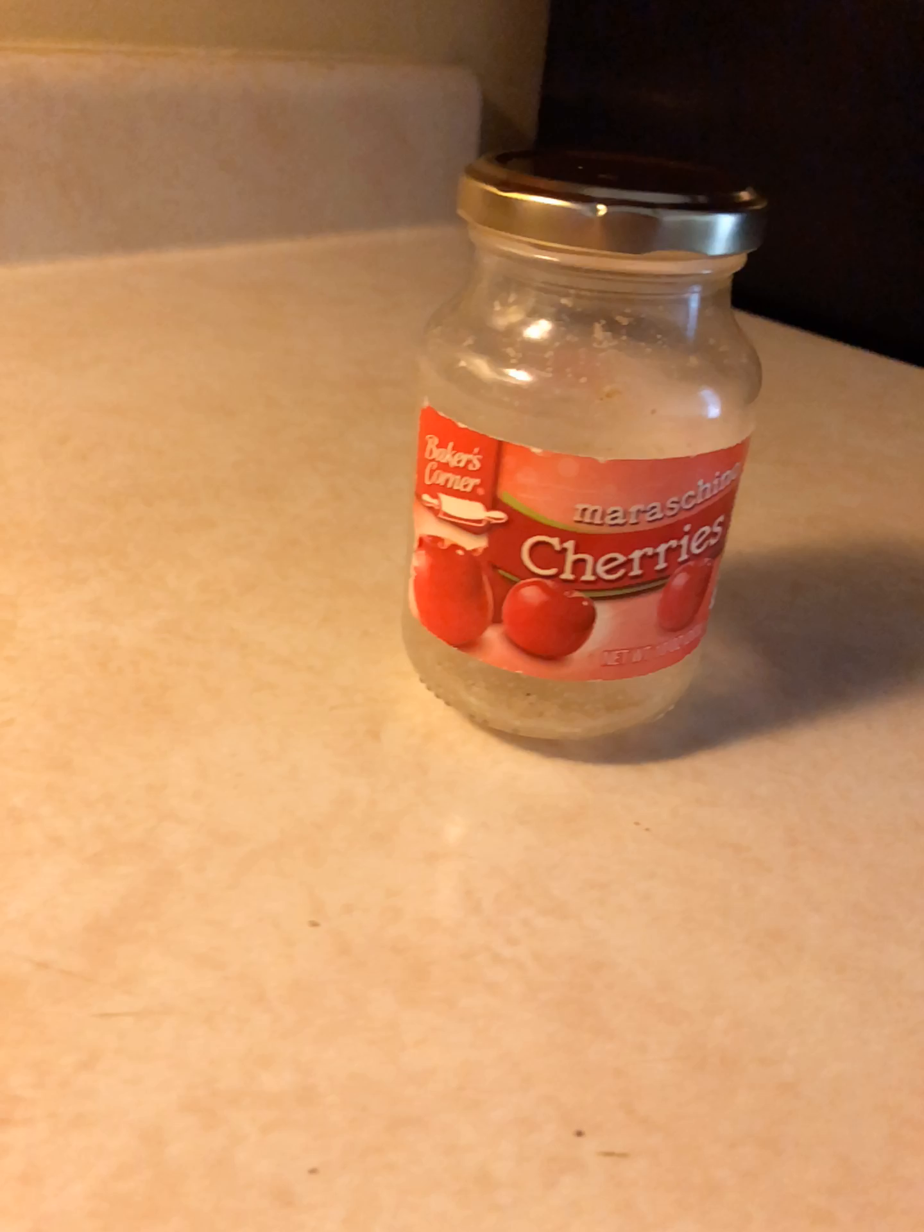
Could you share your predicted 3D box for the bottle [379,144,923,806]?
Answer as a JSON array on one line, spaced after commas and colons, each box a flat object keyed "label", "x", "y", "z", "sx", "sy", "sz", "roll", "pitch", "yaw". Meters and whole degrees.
[{"label": "bottle", "x": 0.027, "y": -0.031, "z": 0.213, "sx": 0.070, "sy": 0.110, "sz": 0.070, "roll": 4, "pitch": 30, "yaw": -2}]
